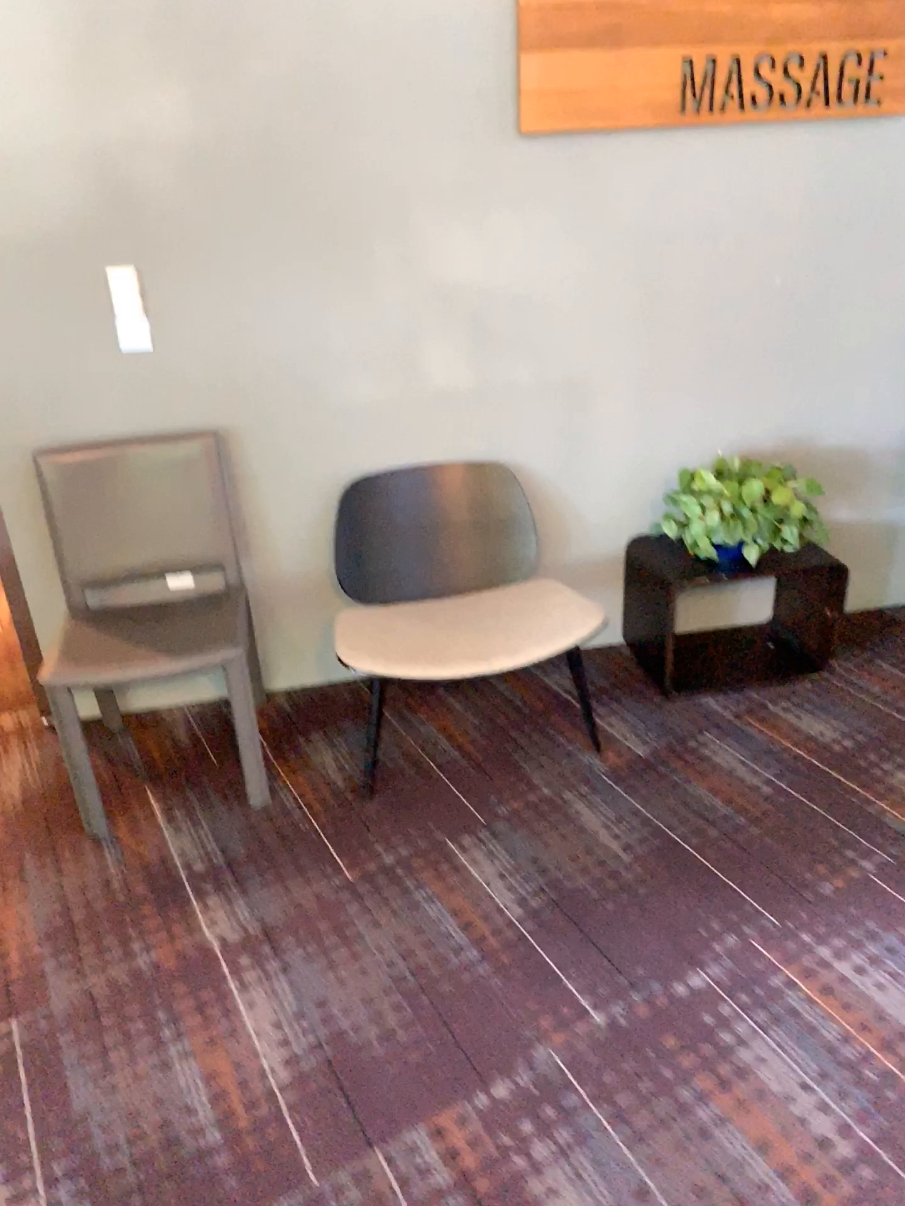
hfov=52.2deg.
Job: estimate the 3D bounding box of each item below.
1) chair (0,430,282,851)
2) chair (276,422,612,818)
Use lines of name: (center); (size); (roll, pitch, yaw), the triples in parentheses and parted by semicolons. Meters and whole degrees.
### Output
chair: (-0.876, 0.062, 2.535); (0.640, 0.835, 0.694); (-9, 27, -12)
chair: (-0.044, 0.006, 2.756); (0.790, 0.835, 0.714); (-9, 27, -12)
